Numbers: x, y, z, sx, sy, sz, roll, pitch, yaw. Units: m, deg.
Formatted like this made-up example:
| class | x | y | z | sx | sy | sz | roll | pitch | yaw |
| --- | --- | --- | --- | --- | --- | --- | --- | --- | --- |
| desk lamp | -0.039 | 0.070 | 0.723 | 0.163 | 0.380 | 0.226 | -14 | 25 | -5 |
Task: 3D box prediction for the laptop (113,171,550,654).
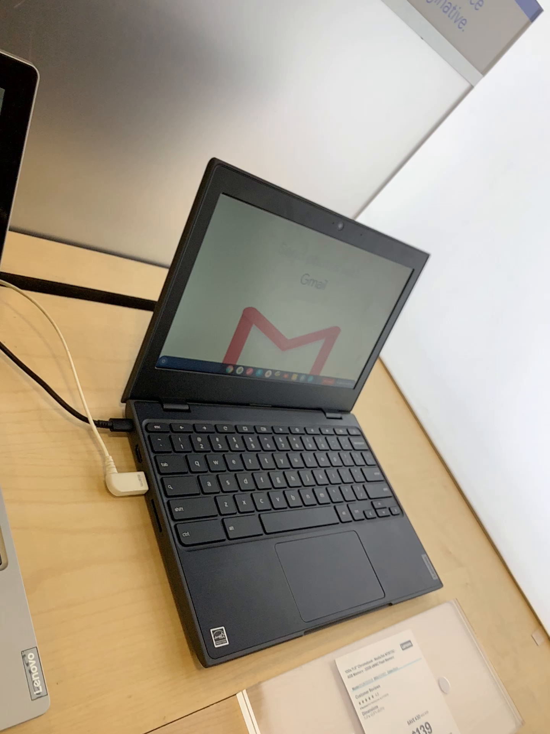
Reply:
| class | x | y | z | sx | sy | sz | roll | pitch | yaw |
| --- | --- | --- | --- | --- | --- | --- | --- | --- | --- |
| laptop | 0.061 | 0.032 | 0.467 | 0.276 | 0.170 | 0.266 | 8 | 47 | -43 |
